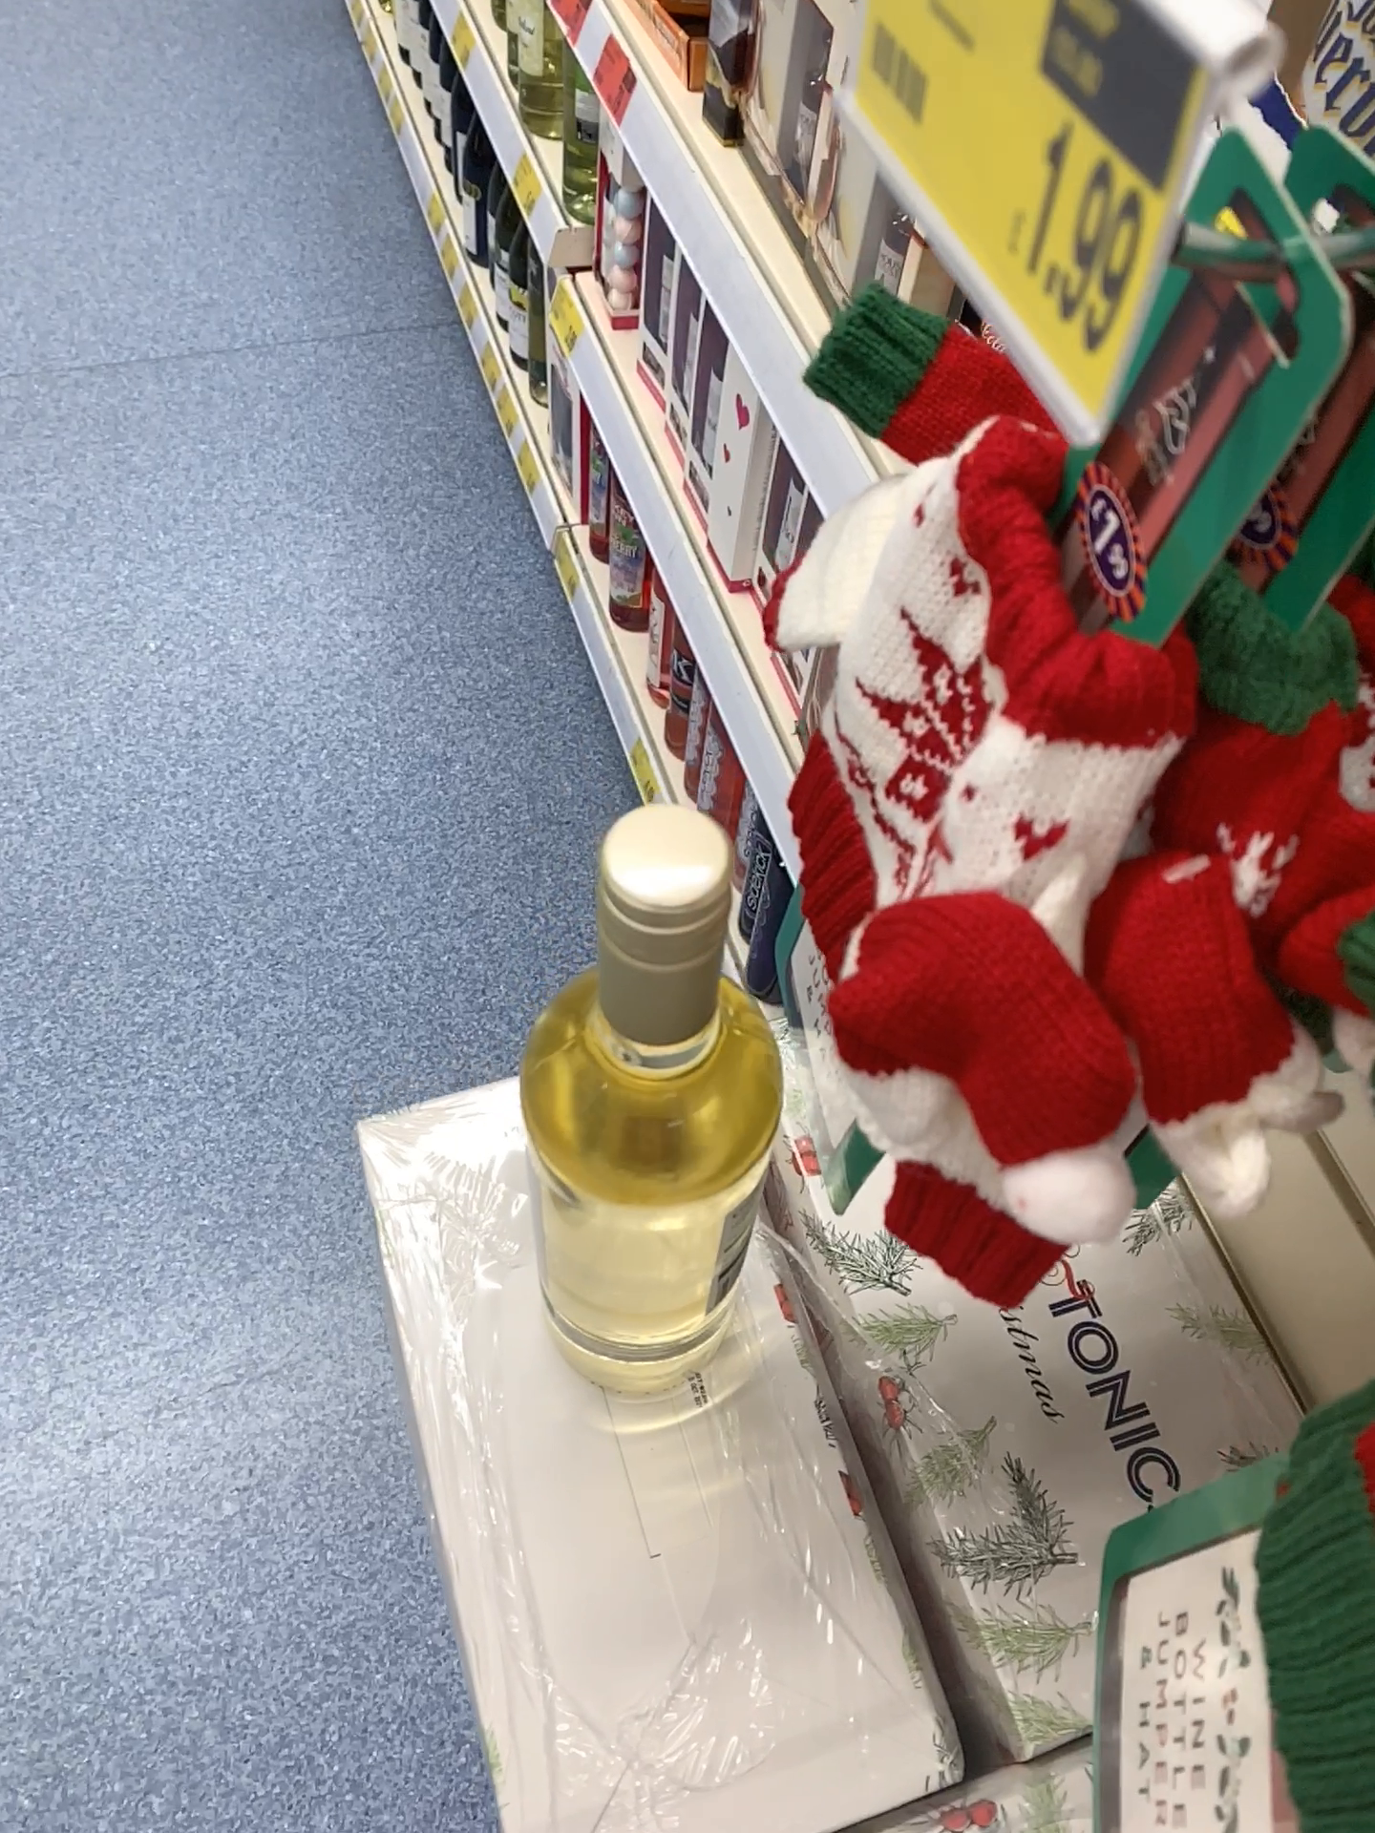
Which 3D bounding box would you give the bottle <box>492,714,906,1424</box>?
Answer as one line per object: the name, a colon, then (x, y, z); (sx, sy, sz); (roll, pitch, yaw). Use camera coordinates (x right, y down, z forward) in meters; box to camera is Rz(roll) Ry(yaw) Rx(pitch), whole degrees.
bottle: (-0.006, 0.070, 0.417); (0.073, 0.285, 0.073); (2, 57, -4)
